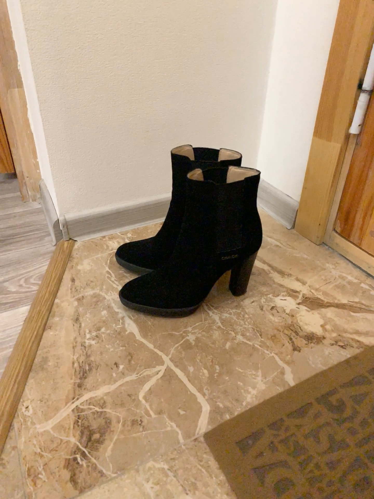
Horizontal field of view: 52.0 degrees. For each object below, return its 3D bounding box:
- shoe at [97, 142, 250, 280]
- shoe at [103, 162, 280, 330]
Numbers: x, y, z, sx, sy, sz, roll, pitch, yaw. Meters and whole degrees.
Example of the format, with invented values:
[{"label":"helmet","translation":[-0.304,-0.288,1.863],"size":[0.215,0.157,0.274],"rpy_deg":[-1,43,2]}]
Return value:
[{"label":"shoe","translation":[-0.023,-0.061,0.626],"size":[0.214,0.198,0.087],"rpy_deg":[-3,34,-6]},{"label":"shoe","translation":[0.002,-0.006,0.553],"size":[0.214,0.198,0.087],"rpy_deg":[-8,35,-13]}]
